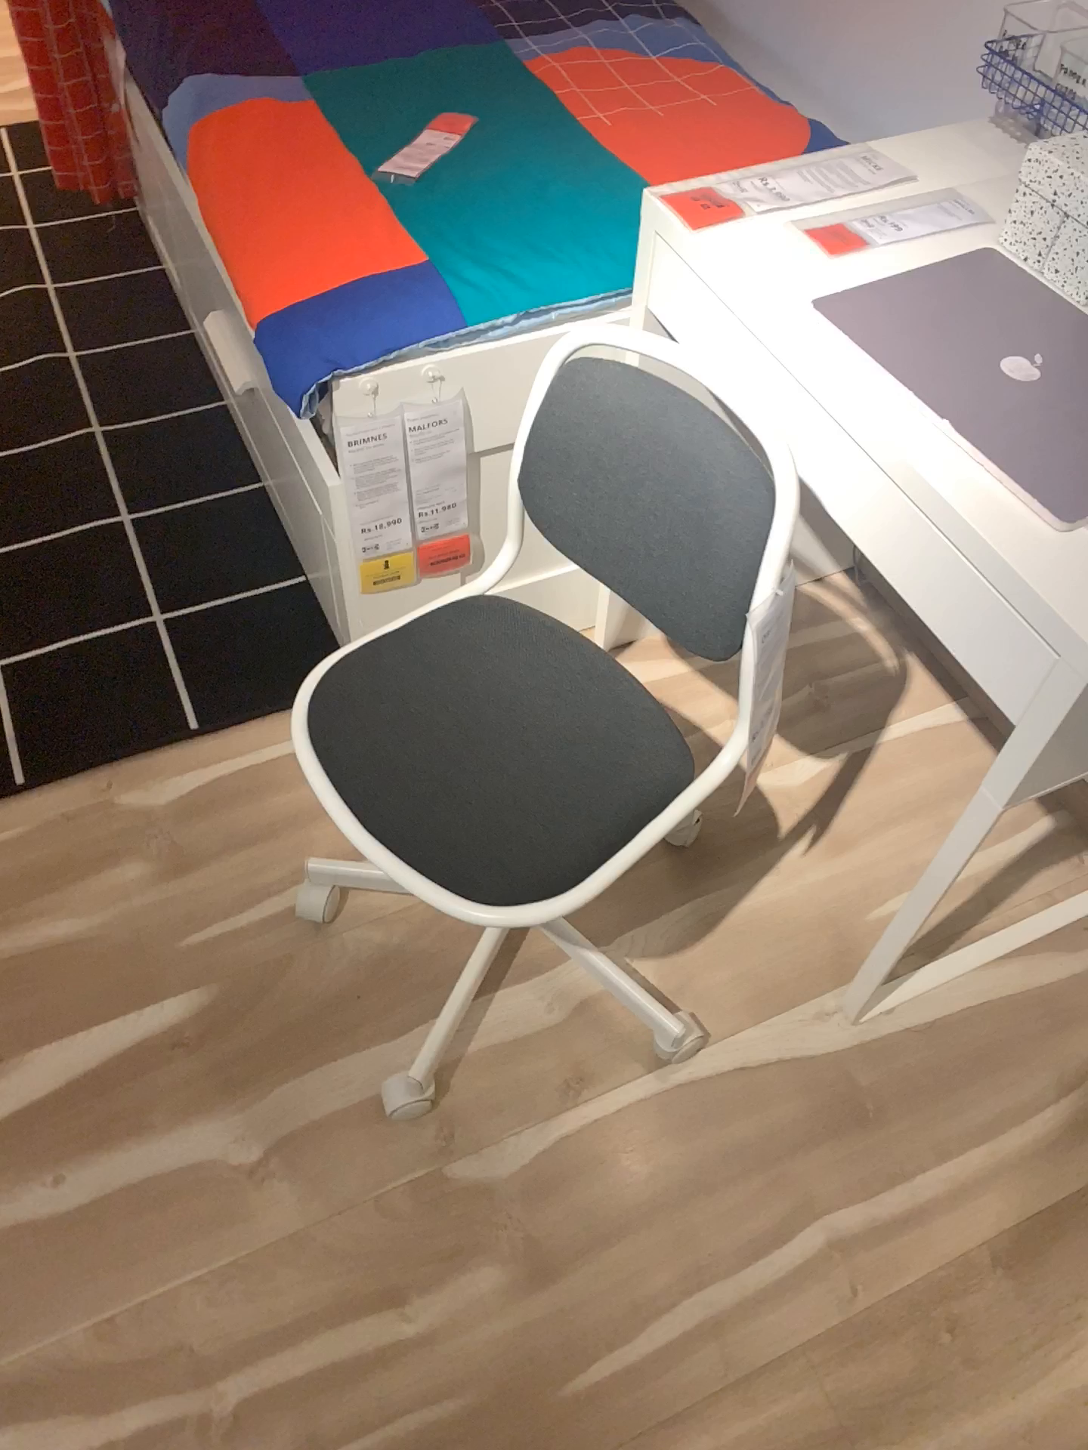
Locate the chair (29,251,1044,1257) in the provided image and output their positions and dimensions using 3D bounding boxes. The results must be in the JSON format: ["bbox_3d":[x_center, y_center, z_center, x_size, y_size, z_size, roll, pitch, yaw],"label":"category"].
[{"bbox_3d":[-0.004,0.035,1.162,0.551,0.658,0.621,38,60,23],"label":"chair"}]
